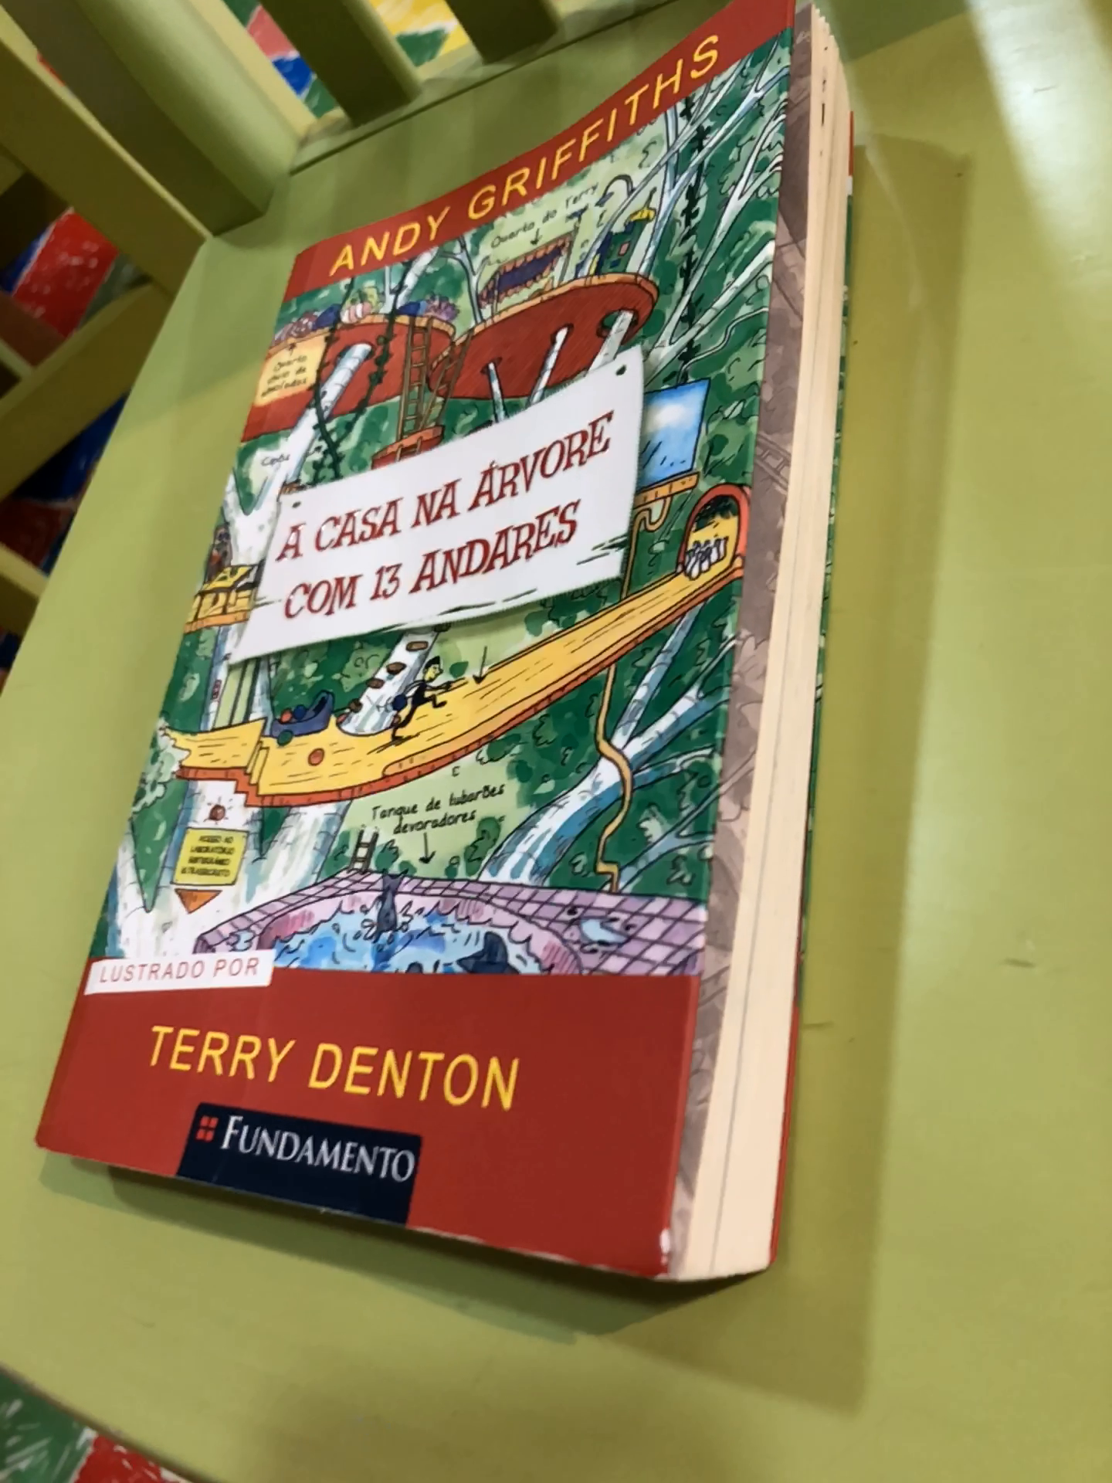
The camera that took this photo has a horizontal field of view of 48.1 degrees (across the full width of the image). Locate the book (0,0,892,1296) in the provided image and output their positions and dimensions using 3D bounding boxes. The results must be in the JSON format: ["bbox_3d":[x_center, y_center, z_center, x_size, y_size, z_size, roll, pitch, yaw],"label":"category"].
[{"bbox_3d":[-0.018,-0.024,0.232,0.137,0.040,0.210,-7,64,38],"label":"book"}]
